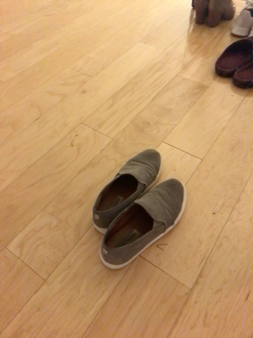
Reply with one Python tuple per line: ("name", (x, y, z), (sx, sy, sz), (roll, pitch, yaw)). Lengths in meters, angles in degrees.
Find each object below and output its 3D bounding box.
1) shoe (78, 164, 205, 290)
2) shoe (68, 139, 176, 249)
("shoe", (0.042, 0.115, 0.619), (0.120, 0.050, 0.281), (37, 61, 27))
("shoe", (-0.001, 0.047, 0.679), (0.110, 0.050, 0.281), (31, 58, 23))
